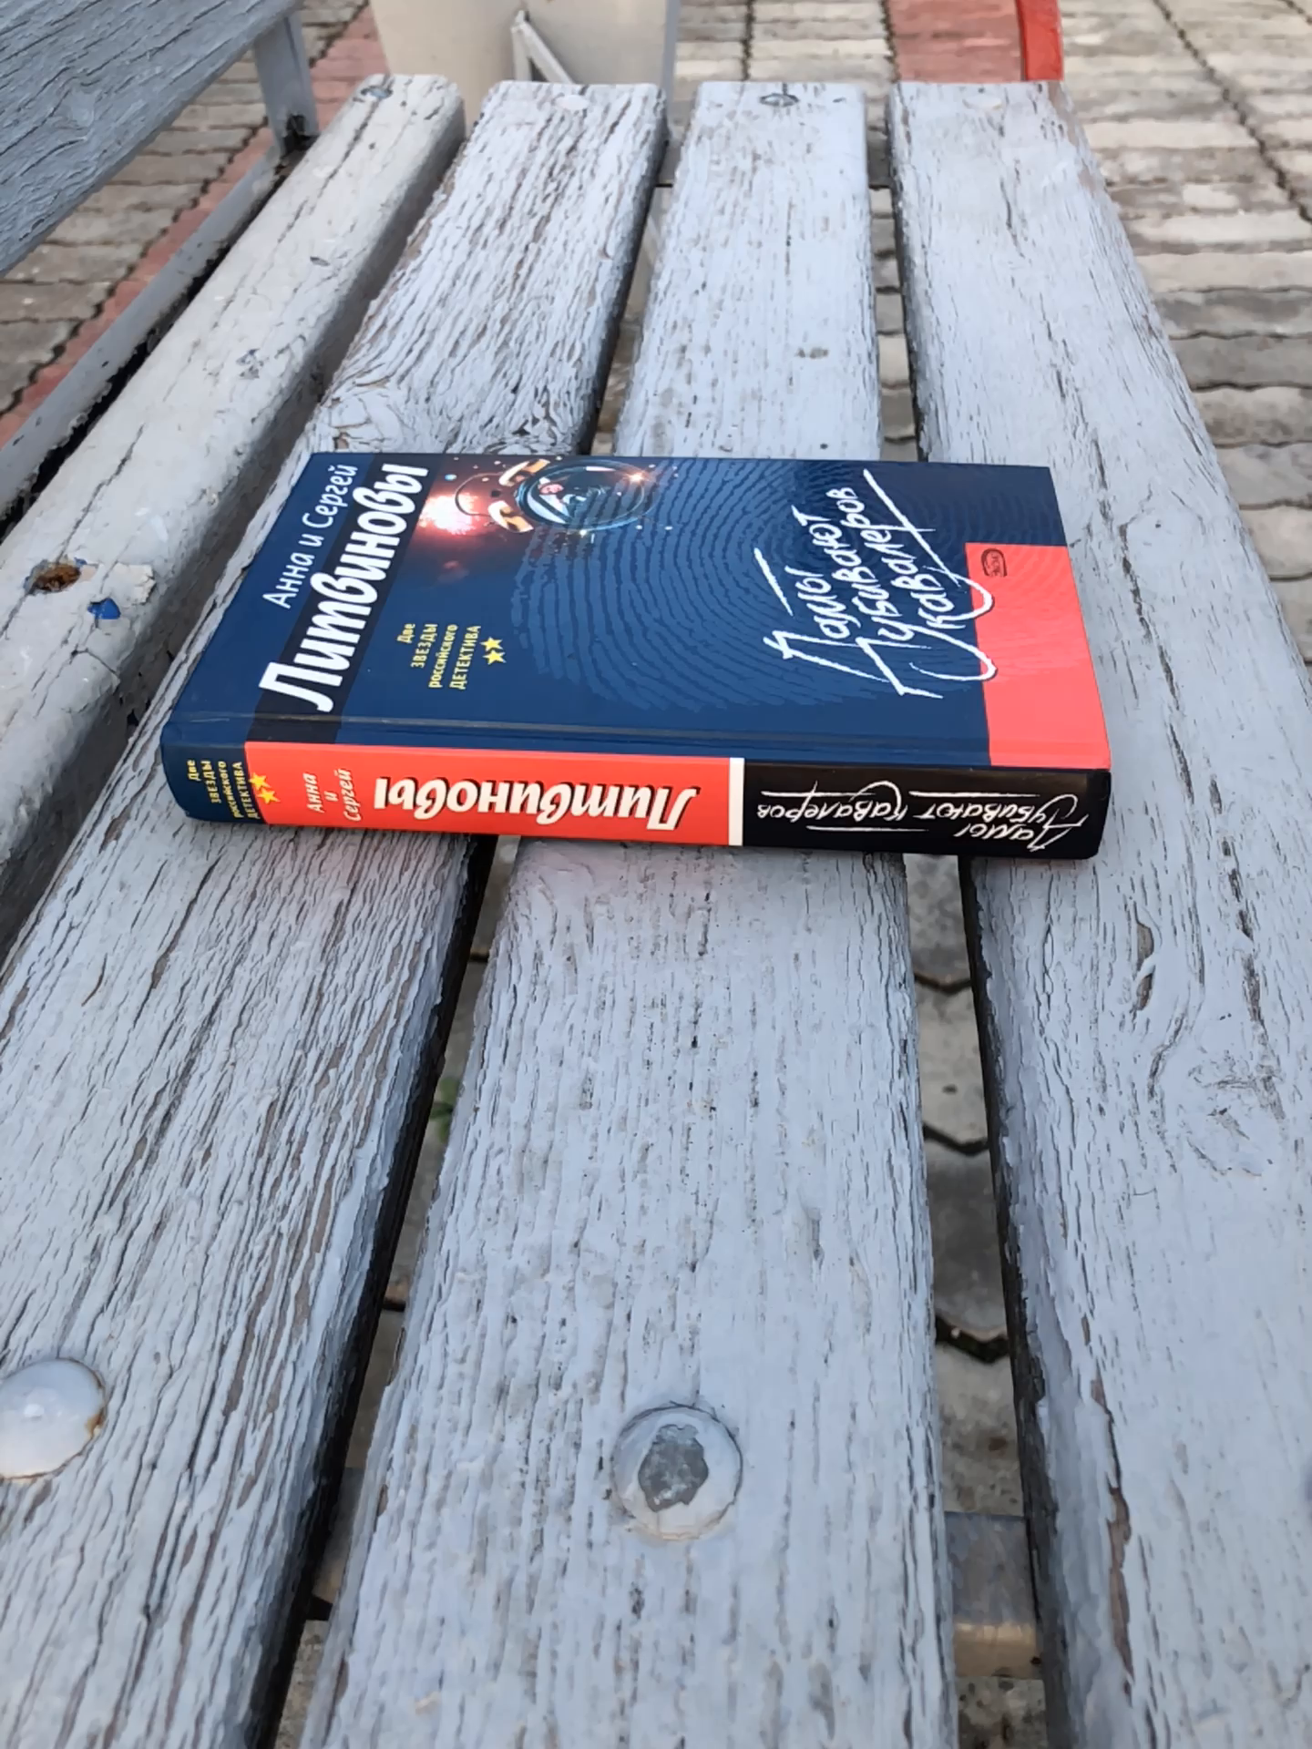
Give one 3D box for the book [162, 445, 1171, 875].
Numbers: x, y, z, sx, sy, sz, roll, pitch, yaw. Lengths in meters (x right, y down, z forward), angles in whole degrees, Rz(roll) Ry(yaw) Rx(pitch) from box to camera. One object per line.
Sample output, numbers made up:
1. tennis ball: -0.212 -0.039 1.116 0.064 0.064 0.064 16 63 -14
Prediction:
1. book: 0.005 -0.059 0.357 0.208 0.030 0.131 2 43 3
